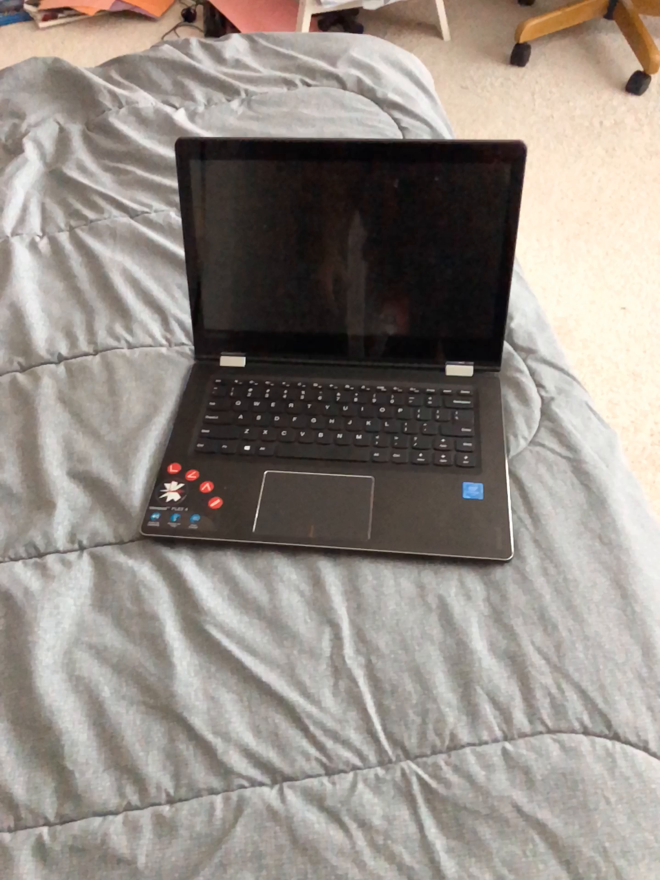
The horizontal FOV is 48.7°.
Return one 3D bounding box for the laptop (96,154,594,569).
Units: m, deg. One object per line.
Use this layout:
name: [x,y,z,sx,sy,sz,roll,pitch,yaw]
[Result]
laptop: [0.028,-0.089,0.723,0.361,0.214,0.352,4,53,5]
